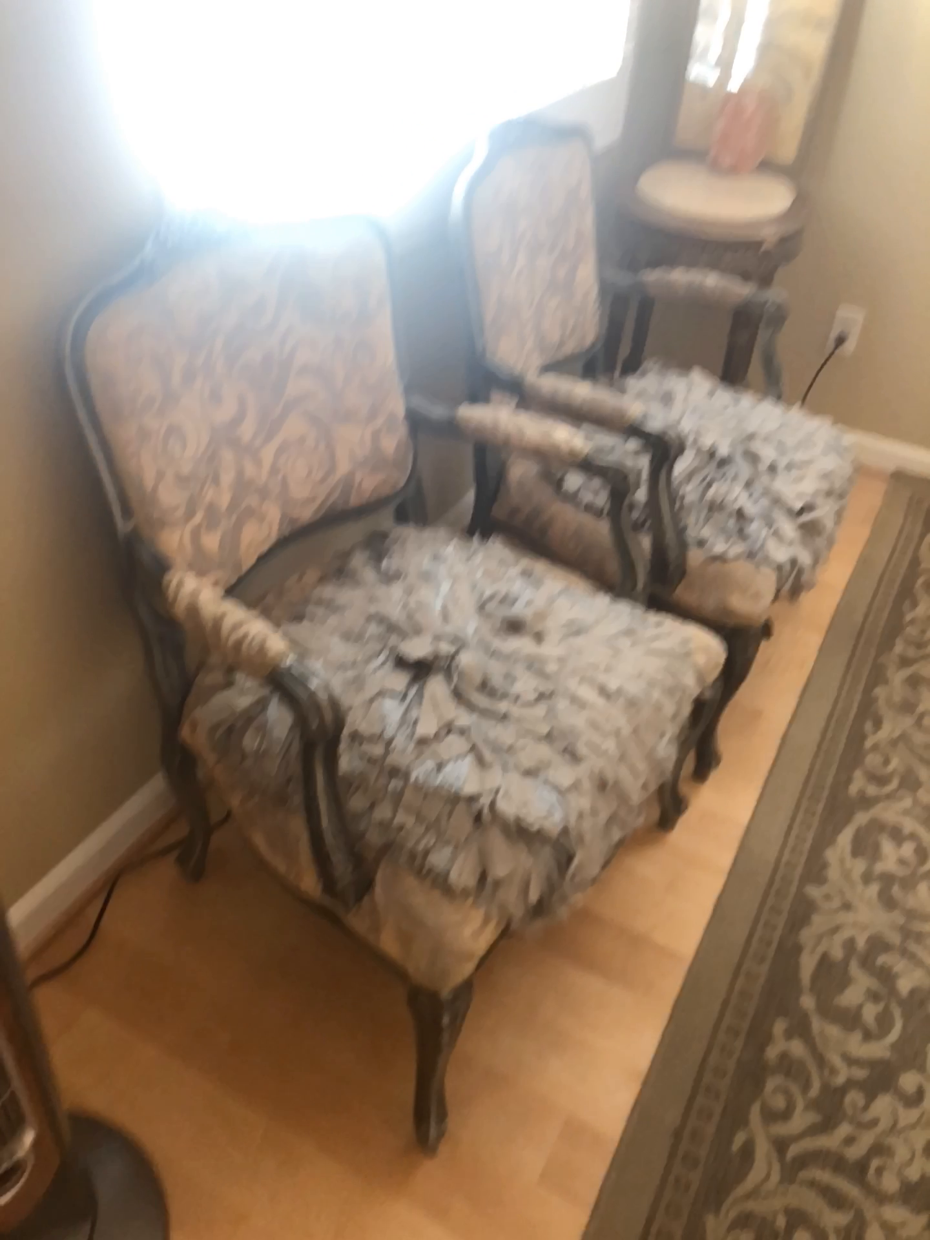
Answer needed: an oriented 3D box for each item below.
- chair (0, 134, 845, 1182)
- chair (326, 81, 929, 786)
[{"bbox_3d":[-0.061,0.014,1.290,0.601,0.951,0.696,26,43,25],"label":"chair"},{"bbox_3d":[0.297,-0.383,1.842,0.780,0.852,0.747,20,41,20],"label":"chair"}]
